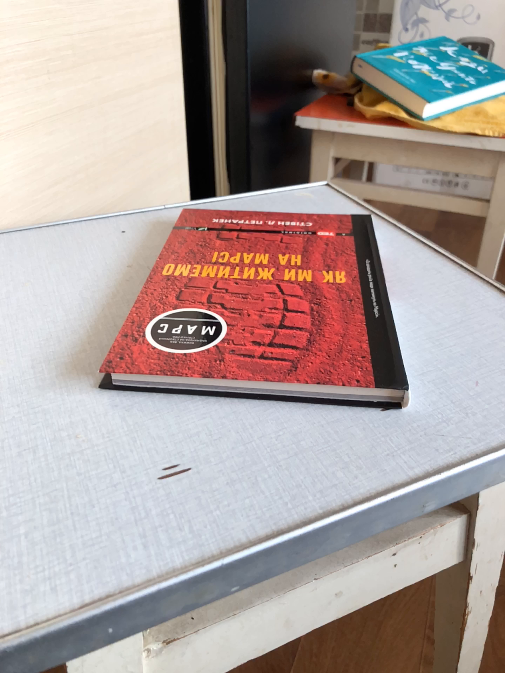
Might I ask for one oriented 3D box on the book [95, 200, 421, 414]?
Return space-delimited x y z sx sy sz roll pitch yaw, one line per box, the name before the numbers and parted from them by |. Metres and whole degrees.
book | 0.011 -0.035 0.348 0.150 0.020 0.210 4 34 4
